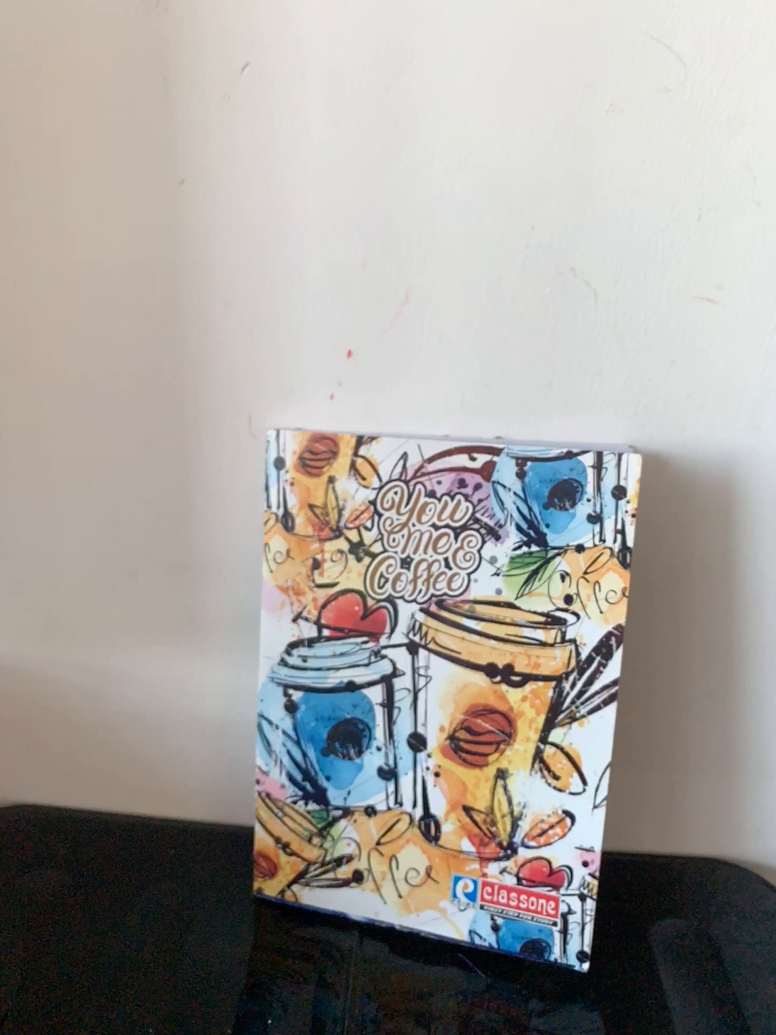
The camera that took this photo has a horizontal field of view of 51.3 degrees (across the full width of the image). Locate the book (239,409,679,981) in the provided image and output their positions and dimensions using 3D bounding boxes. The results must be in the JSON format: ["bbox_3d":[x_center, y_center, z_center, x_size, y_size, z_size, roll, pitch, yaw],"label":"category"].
[{"bbox_3d":[0.032,0.098,0.474,0.220,0.300,0.050,6,11,11],"label":"book"}]
